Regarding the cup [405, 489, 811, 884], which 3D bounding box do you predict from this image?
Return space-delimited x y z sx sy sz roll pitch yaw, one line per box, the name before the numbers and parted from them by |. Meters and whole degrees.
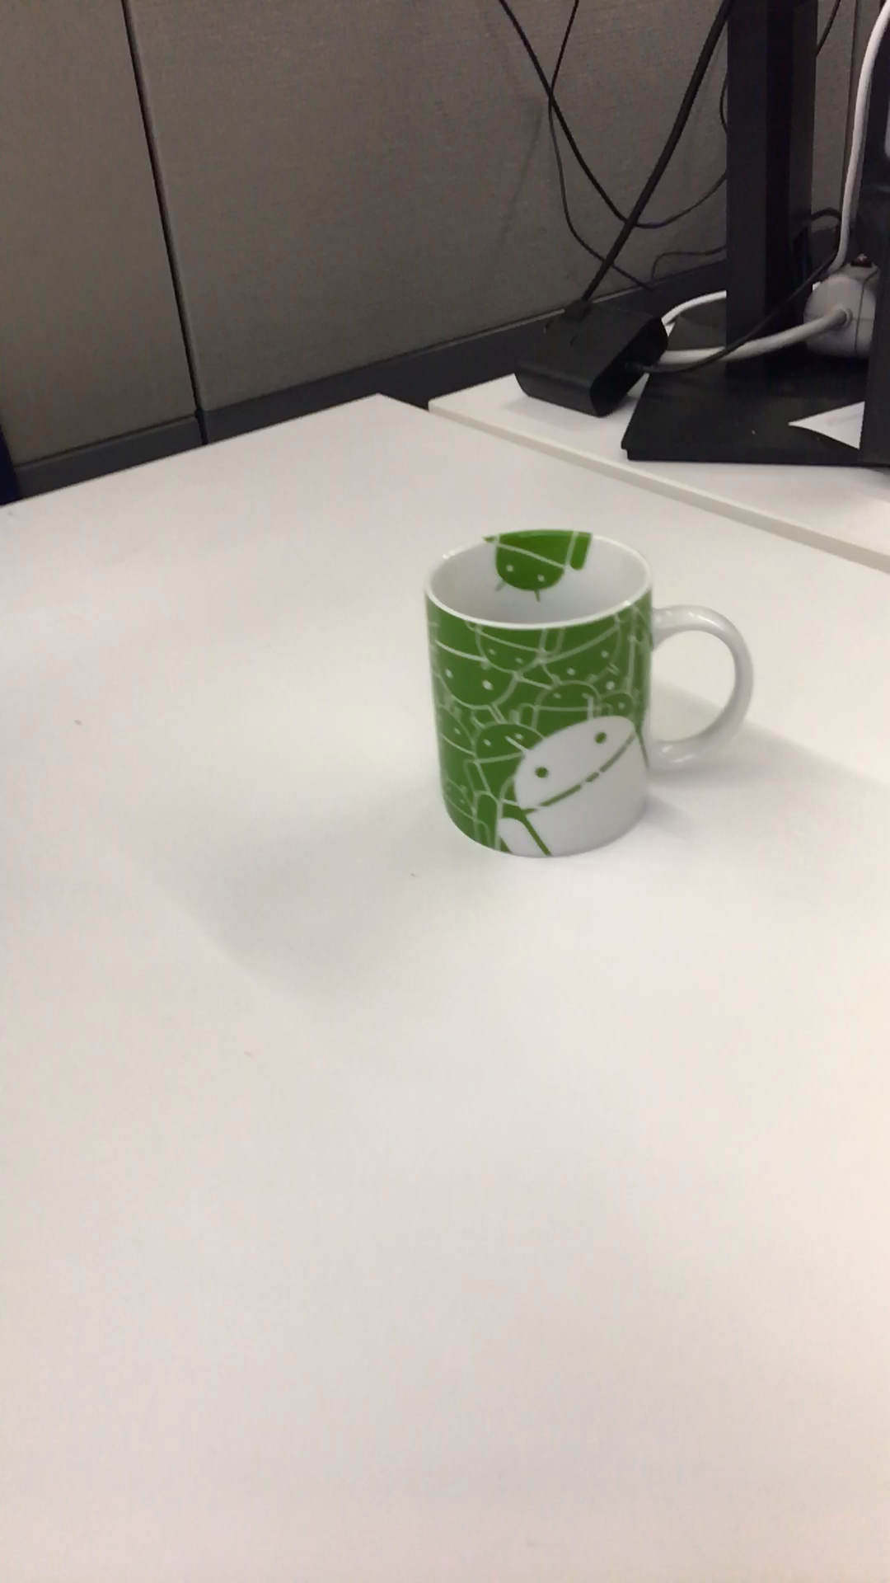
cup | 0.054 -0.041 0.467 0.110 0.090 0.090 -12 34 -11
